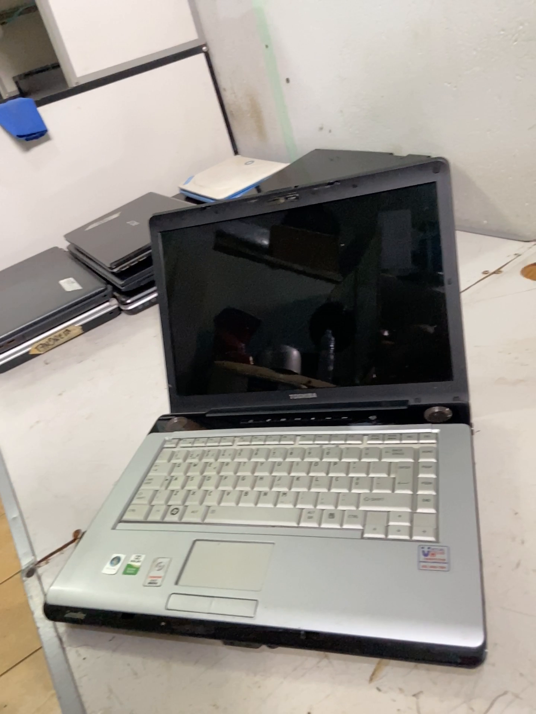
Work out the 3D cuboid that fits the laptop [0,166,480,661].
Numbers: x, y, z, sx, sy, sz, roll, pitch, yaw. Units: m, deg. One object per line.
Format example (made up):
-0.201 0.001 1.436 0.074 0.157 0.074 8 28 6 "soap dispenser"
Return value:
-0.007 0.012 0.514 0.350 0.200 0.395 -5 33 20 "laptop"
